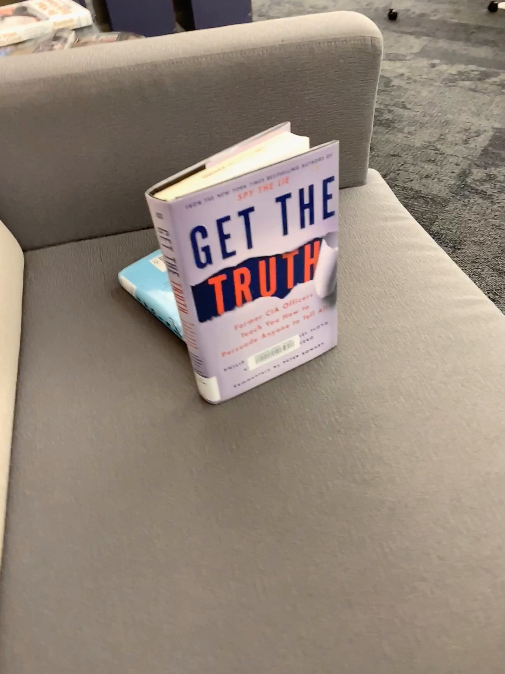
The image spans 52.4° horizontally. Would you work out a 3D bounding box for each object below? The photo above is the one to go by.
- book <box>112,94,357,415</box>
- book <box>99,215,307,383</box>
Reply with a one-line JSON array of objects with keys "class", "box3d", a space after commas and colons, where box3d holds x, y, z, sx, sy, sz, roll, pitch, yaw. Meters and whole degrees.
[{"class": "book", "box3d": [-0.002, -0.062, 0.437, 0.160, 0.219, 0.070, -26, 46, -19]}, {"class": "book", "box3d": [-0.060, -0.055, 0.591, 0.140, 0.030, 0.201, -34, 57, -25]}]
